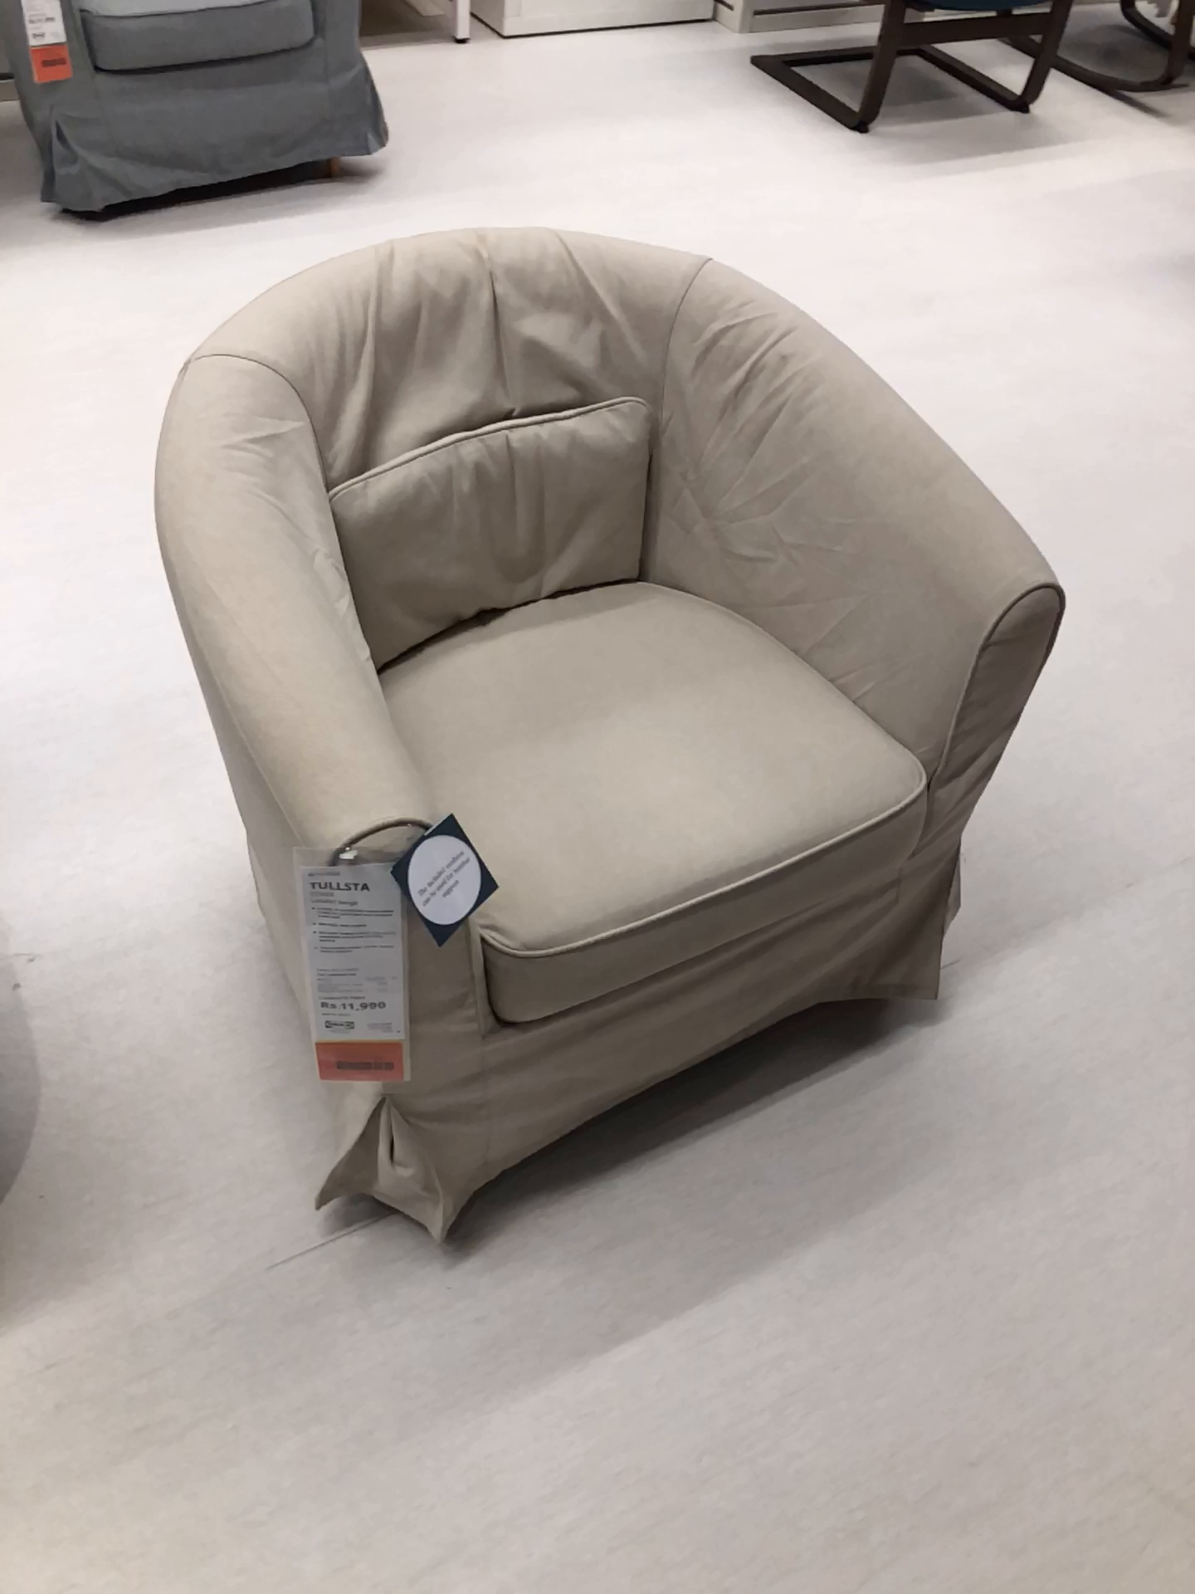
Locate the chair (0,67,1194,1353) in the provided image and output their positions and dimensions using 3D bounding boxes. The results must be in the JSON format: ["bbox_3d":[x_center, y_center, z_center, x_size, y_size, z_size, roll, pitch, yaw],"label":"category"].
[{"bbox_3d":[0.006,-0.130,1.308,0.862,0.805,0.703,-21,52,-24],"label":"chair"}]
